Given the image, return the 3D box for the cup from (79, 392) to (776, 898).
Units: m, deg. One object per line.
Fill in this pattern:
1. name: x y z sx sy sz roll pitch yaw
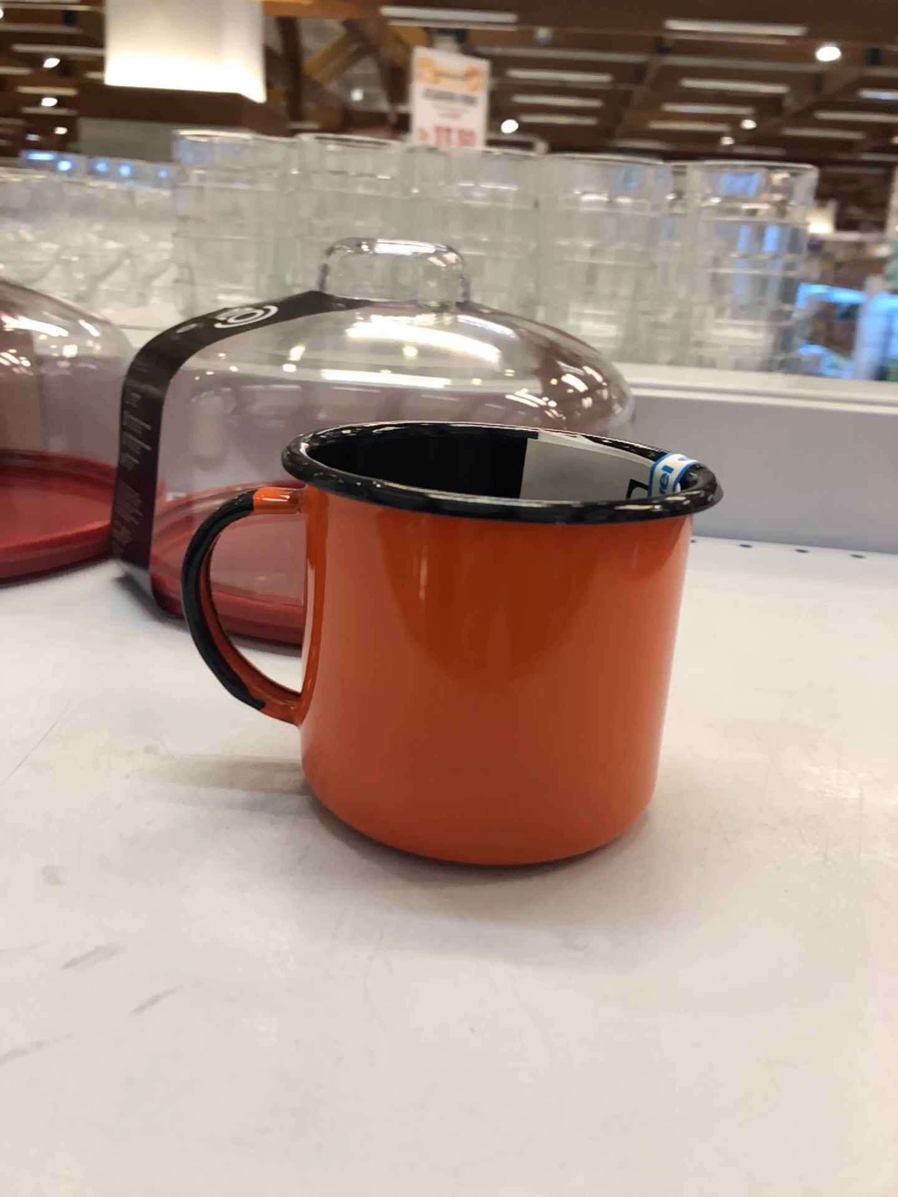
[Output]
1. cup: -0.003 0.002 0.205 0.110 0.070 0.080 5 19 4
